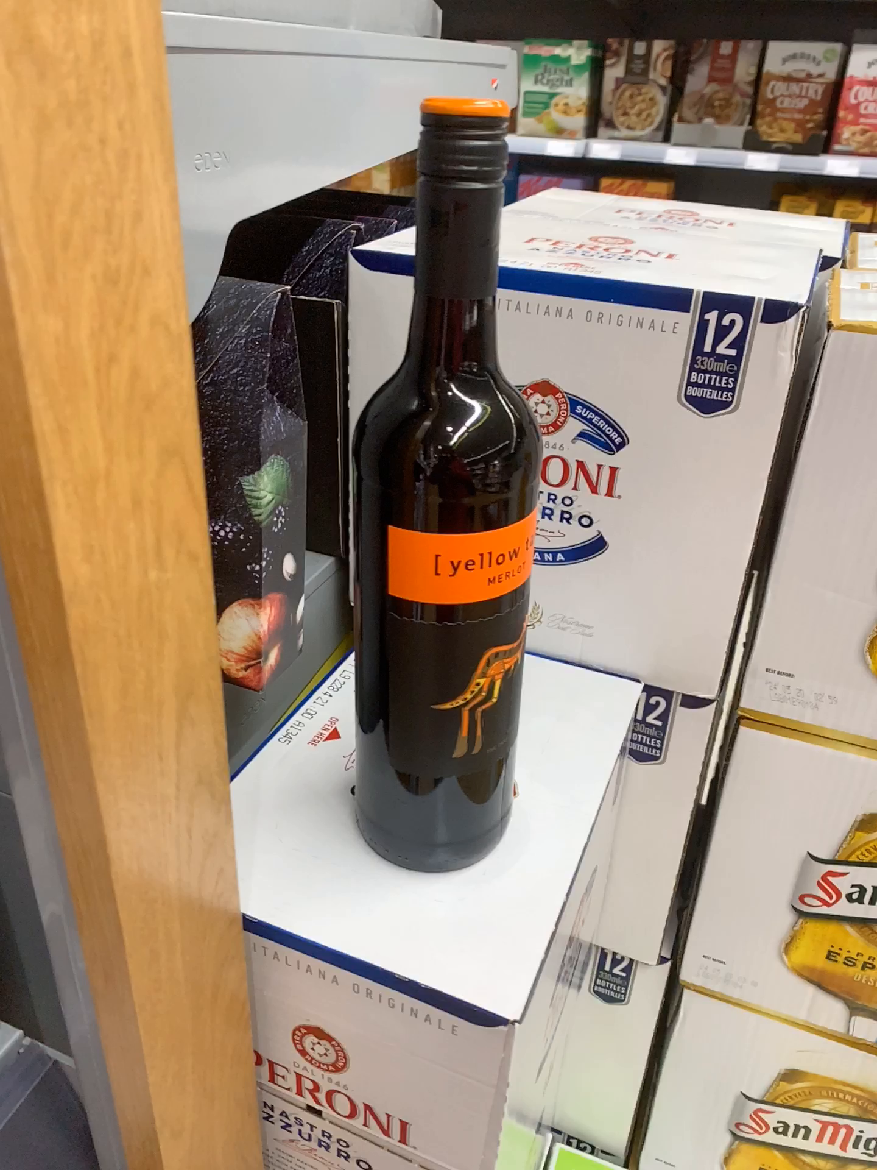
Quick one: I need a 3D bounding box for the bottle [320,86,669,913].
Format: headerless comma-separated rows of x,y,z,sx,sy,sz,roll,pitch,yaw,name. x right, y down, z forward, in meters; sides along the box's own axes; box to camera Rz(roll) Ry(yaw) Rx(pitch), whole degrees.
0.011,-0.022,0.350,0.078,0.297,0.076,2,28,-1,bottle
